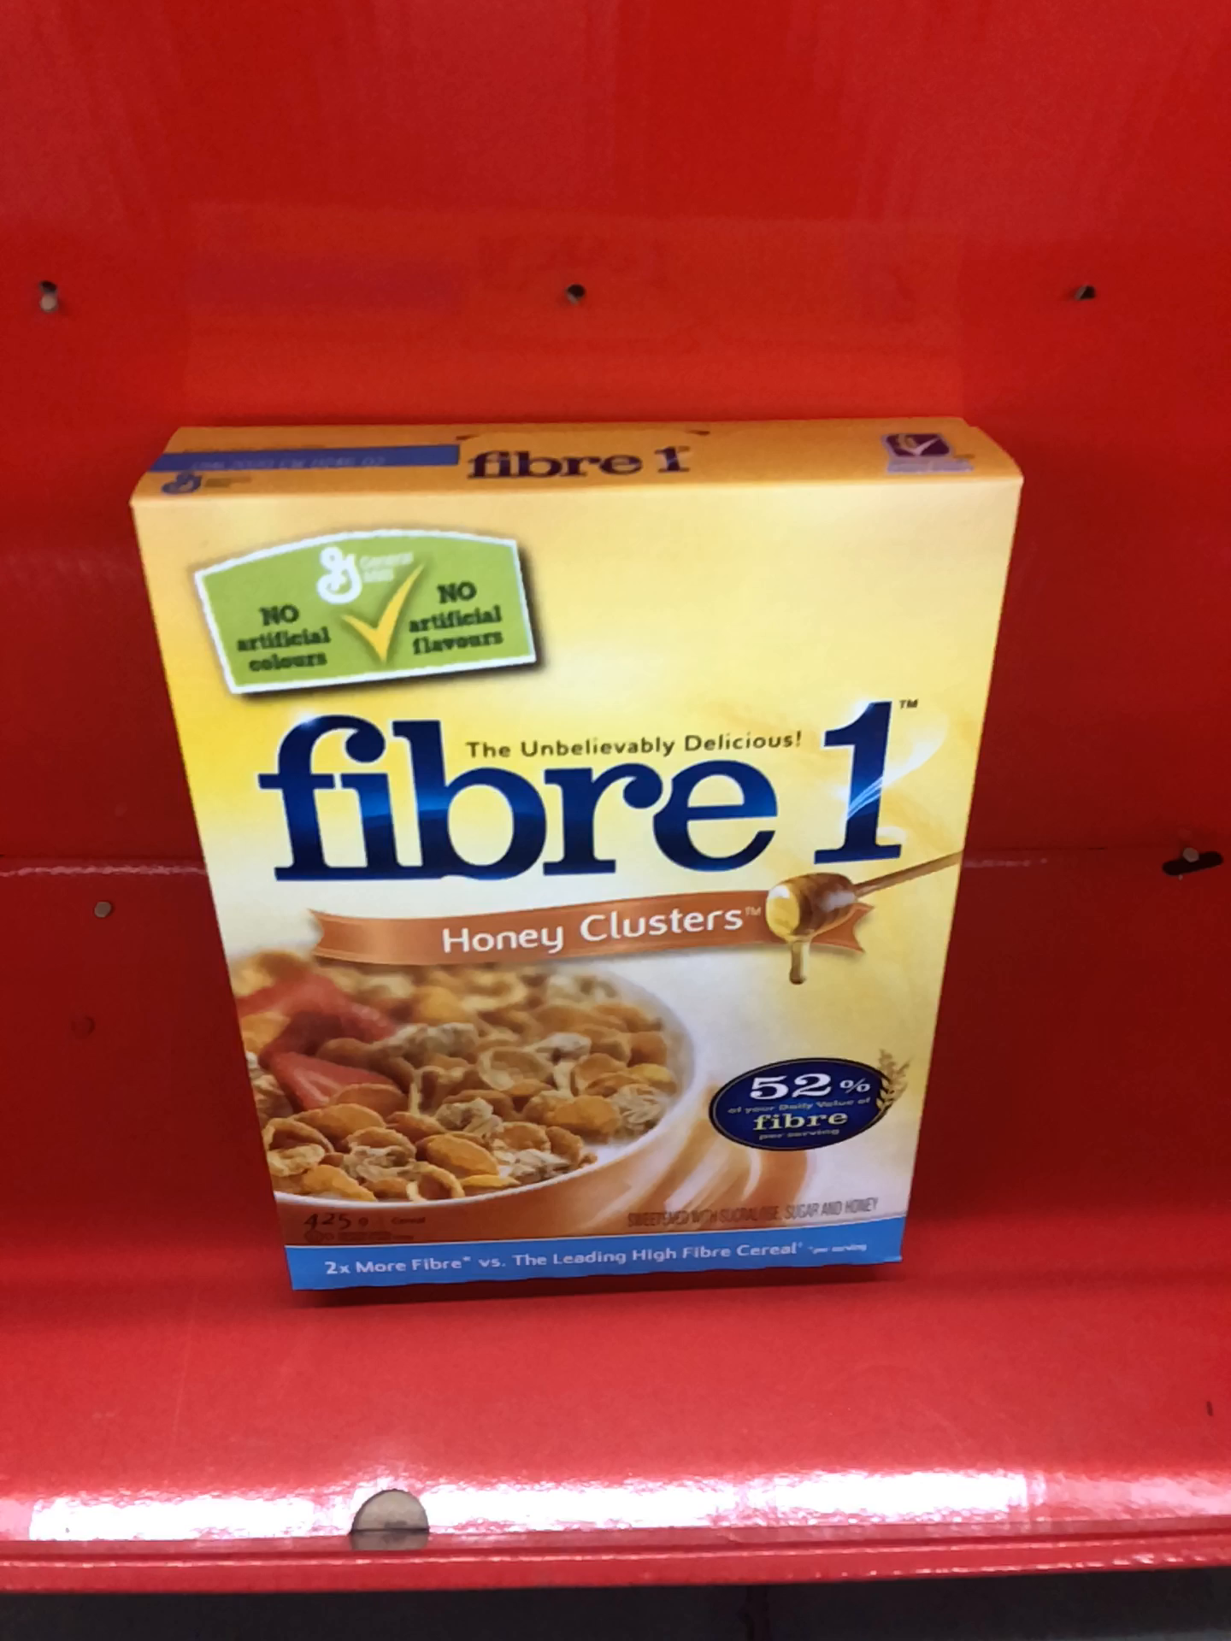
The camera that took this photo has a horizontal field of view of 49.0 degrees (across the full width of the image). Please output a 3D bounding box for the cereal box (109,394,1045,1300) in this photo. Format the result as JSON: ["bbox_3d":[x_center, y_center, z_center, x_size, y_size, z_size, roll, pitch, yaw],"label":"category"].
[{"bbox_3d":[-0.007,0.021,0.397,0.210,0.269,0.060,-2,31,-2],"label":"cereal box"}]
